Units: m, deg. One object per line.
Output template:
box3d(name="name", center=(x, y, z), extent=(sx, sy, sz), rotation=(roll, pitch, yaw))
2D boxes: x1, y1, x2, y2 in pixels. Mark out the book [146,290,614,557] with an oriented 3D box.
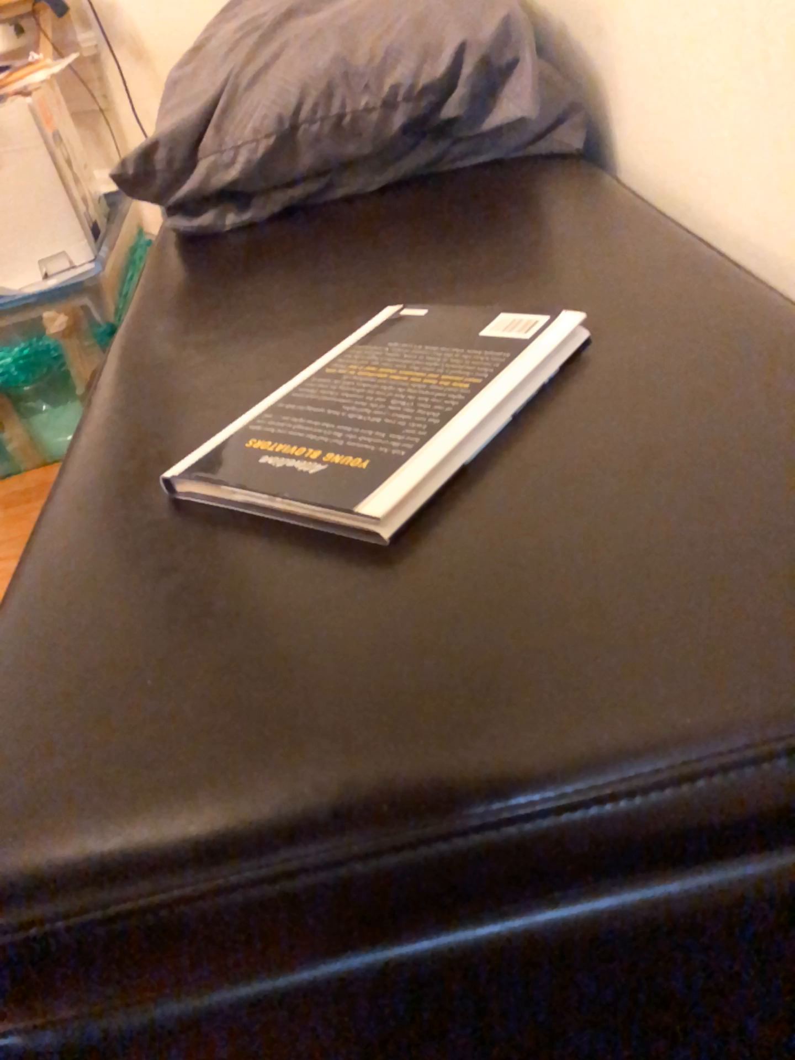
box3d(name="book", center=(-0.001, -0.076, 0.486), extent=(0.160, 0.020, 0.231), rotation=(12, 42, 34))
